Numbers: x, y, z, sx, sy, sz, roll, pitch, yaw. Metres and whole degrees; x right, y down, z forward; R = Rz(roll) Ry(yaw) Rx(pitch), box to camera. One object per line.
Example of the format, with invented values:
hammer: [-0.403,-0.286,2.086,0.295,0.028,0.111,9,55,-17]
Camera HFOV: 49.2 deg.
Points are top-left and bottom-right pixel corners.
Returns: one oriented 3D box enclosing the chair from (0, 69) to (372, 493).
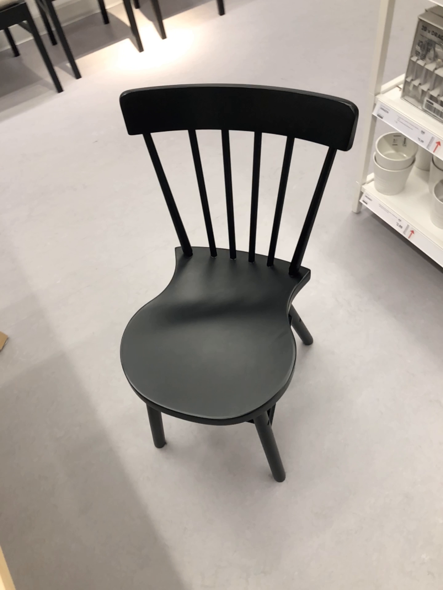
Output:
chair: [-0.006,0.009,1.048,0.481,0.716,0.522,11,58,15]
